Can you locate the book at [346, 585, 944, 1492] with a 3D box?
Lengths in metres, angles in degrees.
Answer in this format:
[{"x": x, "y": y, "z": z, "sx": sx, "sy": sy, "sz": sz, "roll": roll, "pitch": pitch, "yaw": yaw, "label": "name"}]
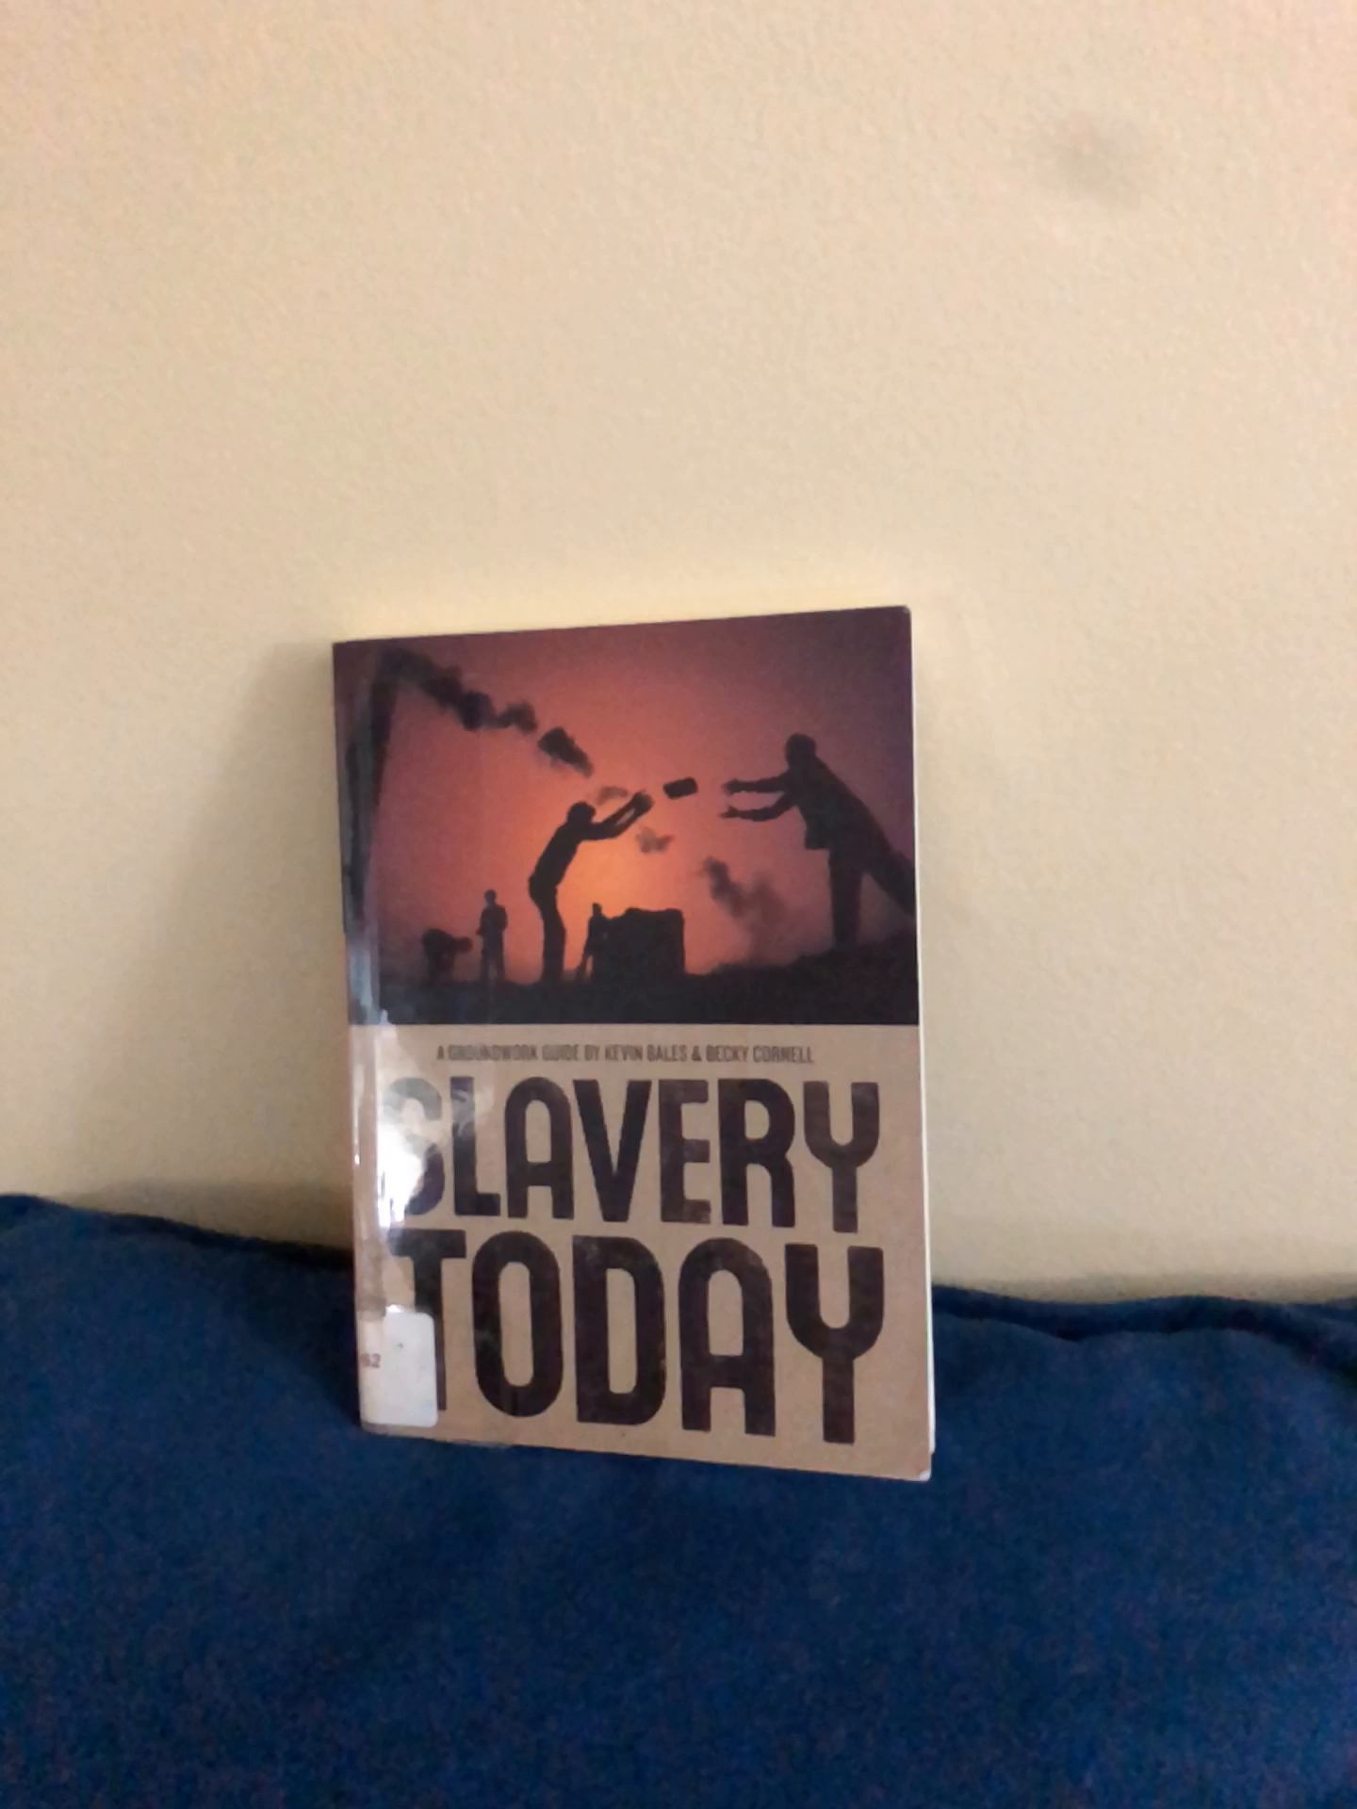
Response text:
[{"x": -0.008, "y": 0.027, "z": 0.335, "sx": 0.127, "sy": 0.182, "sz": 0.028, "roll": -1, "pitch": -1, "yaw": 16, "label": "book"}]
